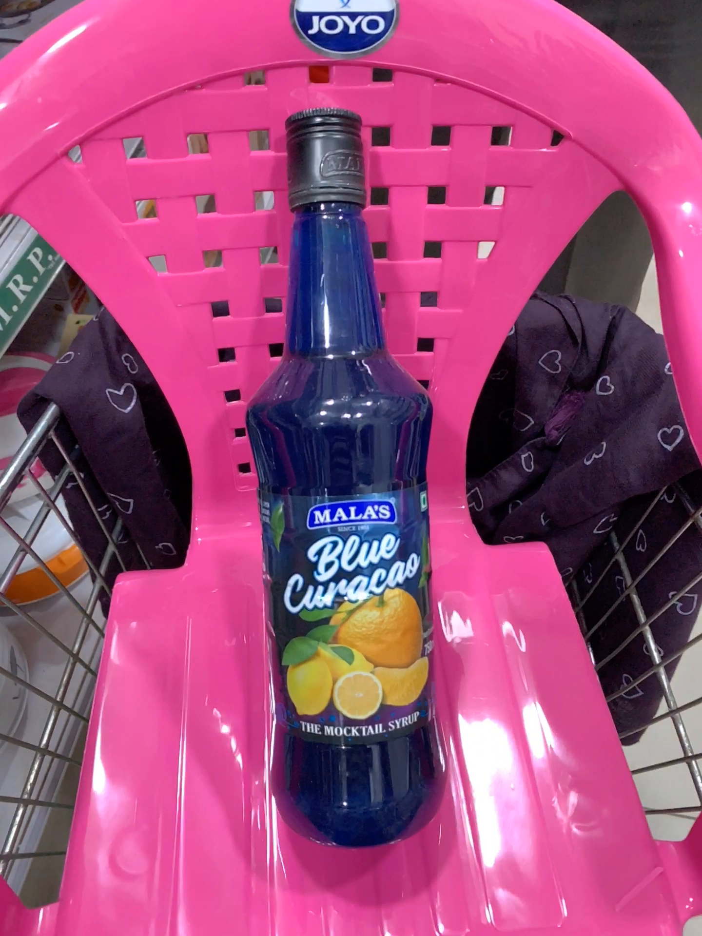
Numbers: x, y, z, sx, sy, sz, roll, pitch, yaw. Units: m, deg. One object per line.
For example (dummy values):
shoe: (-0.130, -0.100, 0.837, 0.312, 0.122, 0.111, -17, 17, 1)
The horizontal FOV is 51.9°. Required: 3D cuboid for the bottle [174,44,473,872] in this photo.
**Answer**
bottle: (-0.007, 0.002, 0.275, 0.080, 0.270, 0.080, -3, 11, 1)
